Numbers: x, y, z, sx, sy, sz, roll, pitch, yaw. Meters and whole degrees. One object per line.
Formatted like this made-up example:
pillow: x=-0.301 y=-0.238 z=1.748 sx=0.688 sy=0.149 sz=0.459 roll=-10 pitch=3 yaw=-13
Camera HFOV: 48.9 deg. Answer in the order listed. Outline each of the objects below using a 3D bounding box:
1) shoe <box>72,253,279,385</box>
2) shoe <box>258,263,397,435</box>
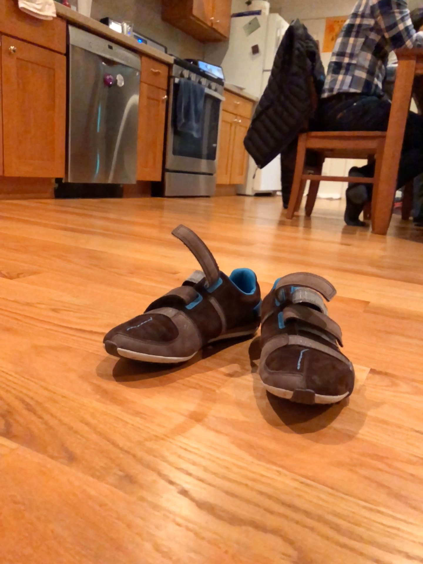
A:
shoe: x=-0.032 y=0.029 z=0.571 sx=0.102 sy=0.092 sz=0.256 roll=14 pitch=16 yaw=36
shoe: x=0.107 y=0.052 z=0.512 sx=0.102 sy=0.092 sz=0.256 roll=6 pitch=13 yaw=5
